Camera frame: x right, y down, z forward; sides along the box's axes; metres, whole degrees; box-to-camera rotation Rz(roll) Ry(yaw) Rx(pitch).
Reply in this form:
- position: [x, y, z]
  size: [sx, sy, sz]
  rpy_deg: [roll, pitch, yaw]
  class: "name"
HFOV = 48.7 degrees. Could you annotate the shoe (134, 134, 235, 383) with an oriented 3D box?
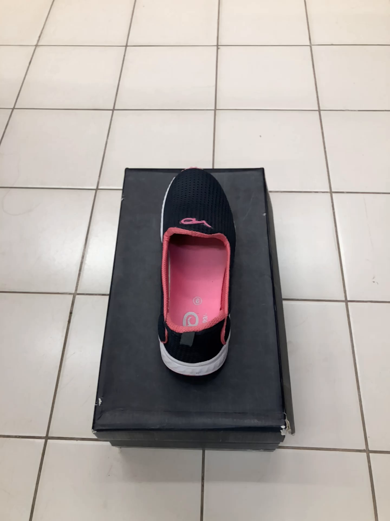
- position: [-0.003, -0.010, 0.495]
  size: [0.090, 0.100, 0.271]
  rpy_deg: [1, 60, 2]
  class: "shoe"
